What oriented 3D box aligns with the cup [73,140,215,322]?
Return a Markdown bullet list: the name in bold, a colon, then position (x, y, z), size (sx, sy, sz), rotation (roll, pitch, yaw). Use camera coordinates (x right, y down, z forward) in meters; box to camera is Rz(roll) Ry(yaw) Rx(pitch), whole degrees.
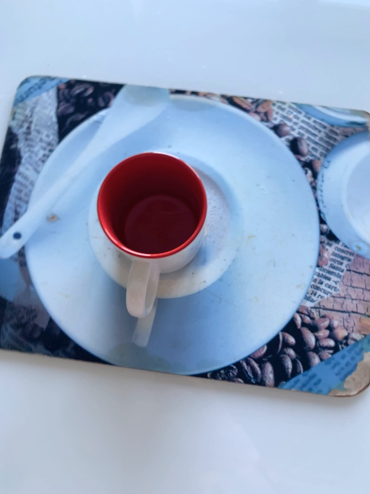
- **cup**: position (-0.026, -0.003, 0.320), size (0.077, 0.115, 0.117), rotation (9, 79, 3)
